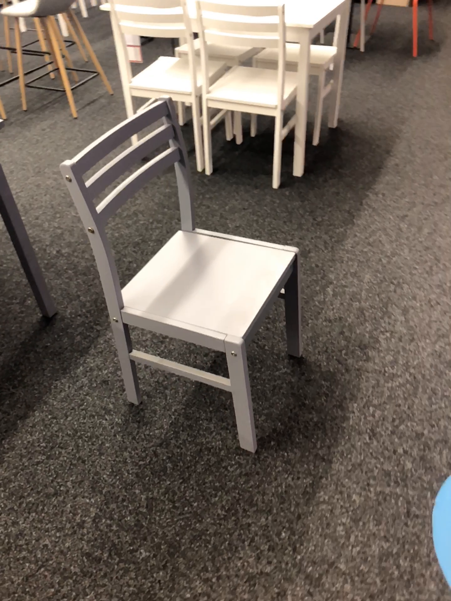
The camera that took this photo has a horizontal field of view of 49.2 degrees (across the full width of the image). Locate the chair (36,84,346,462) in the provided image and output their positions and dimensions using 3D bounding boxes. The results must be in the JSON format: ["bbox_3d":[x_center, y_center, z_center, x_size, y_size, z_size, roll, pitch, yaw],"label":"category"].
[{"bbox_3d":[-0.030,-0.069,1.301,0.490,0.766,0.493,15,45,19],"label":"chair"}]
